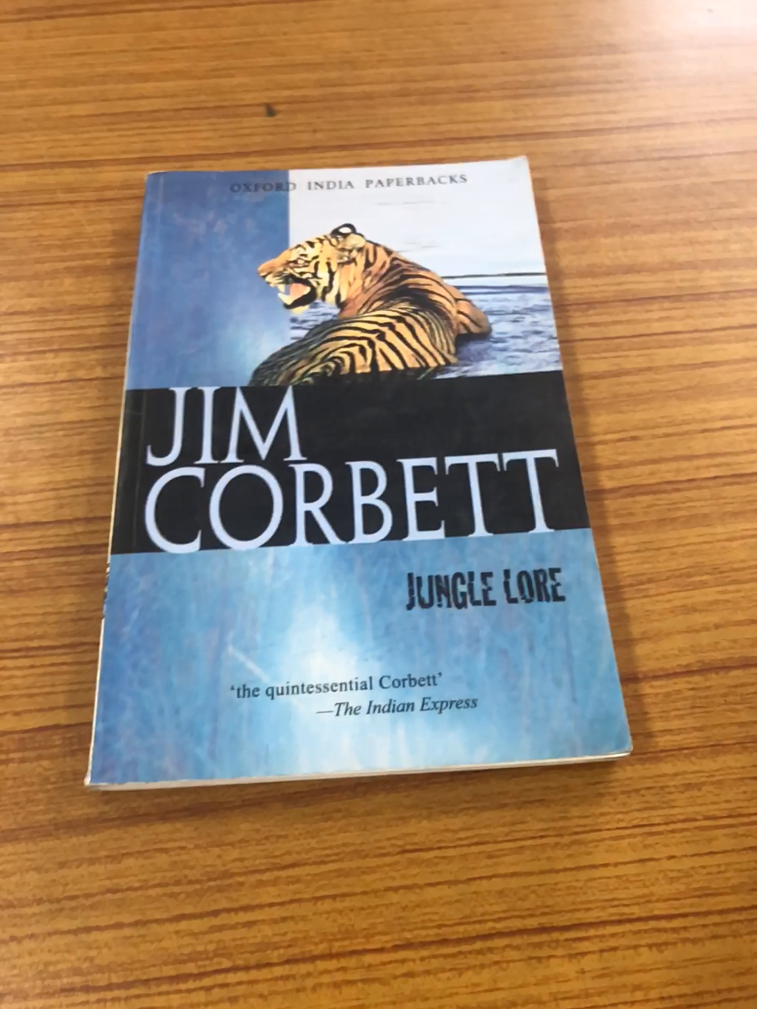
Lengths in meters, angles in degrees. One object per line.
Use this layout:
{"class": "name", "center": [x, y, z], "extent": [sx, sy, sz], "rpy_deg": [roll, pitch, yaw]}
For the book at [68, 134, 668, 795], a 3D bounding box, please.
{"class": "book", "center": [-0.008, -0.030, 0.265], "extent": [0.150, 0.010, 0.220], "rpy_deg": [-3, 64, -1]}
